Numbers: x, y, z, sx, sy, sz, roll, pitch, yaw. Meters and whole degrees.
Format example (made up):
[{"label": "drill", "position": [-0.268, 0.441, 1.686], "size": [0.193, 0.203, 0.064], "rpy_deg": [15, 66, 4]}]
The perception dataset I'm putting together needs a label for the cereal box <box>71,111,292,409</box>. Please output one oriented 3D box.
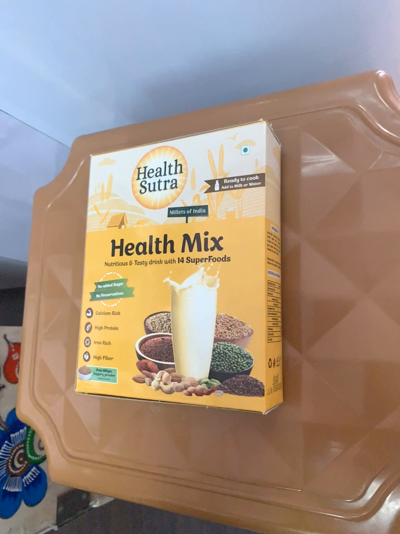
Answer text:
[{"label": "cereal box", "position": [-0.012, -0.002, 0.264], "size": [0.130, 0.040, 0.160], "rpy_deg": [-3, 80, 24]}]
